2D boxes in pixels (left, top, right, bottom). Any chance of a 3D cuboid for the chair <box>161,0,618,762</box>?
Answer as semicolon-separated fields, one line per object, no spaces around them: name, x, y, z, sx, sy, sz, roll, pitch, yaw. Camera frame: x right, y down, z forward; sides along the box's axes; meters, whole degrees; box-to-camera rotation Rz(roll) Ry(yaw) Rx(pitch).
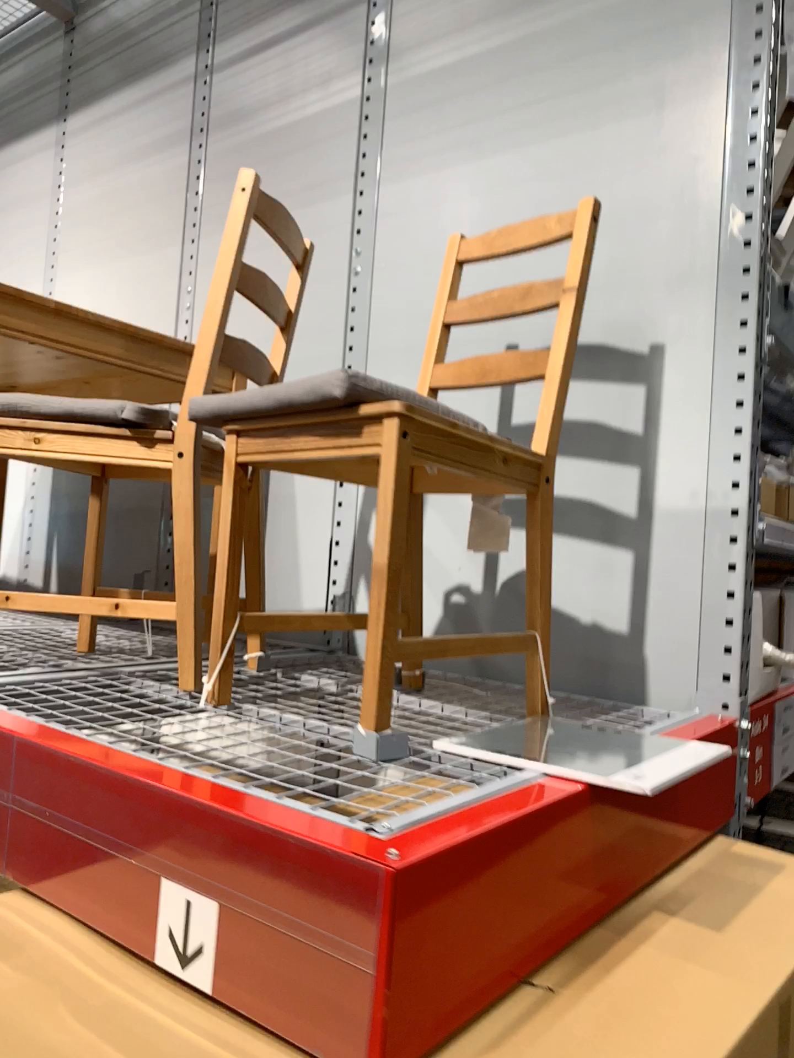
chair;0.006;-0.177;1.284;0.440;0.911;0.500;2;-3;41
